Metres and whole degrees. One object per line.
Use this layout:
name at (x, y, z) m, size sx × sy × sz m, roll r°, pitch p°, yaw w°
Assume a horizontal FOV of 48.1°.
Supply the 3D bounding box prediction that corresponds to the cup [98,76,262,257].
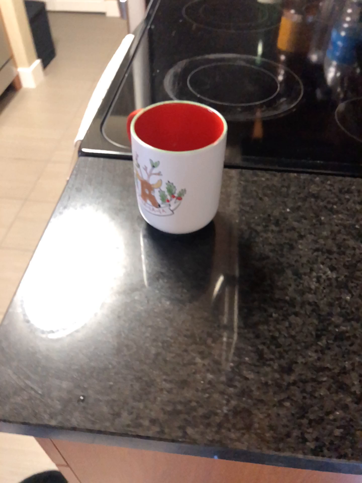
cup at (-0.005, -0.080, 0.413) m, size 0.090 × 0.110 × 0.130 m, roll -30°, pitch 53°, yaw -26°
